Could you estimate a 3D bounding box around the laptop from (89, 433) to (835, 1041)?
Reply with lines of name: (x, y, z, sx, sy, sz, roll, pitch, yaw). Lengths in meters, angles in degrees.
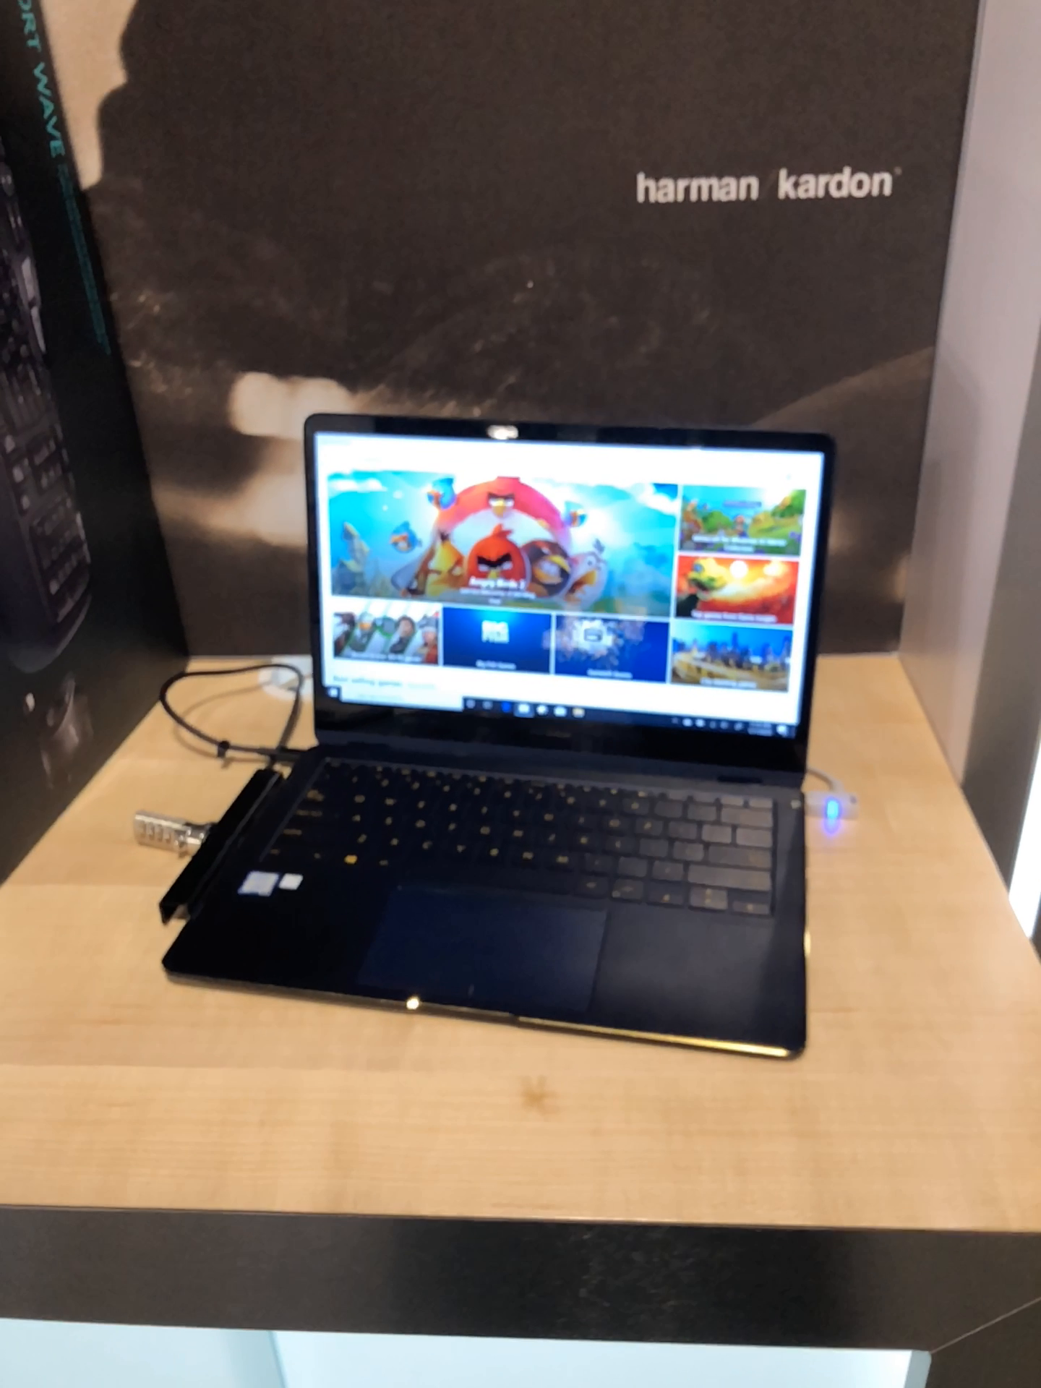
laptop: (0.000, -0.001, 0.589, 0.291, 0.190, 0.249, 4, 29, 11)
